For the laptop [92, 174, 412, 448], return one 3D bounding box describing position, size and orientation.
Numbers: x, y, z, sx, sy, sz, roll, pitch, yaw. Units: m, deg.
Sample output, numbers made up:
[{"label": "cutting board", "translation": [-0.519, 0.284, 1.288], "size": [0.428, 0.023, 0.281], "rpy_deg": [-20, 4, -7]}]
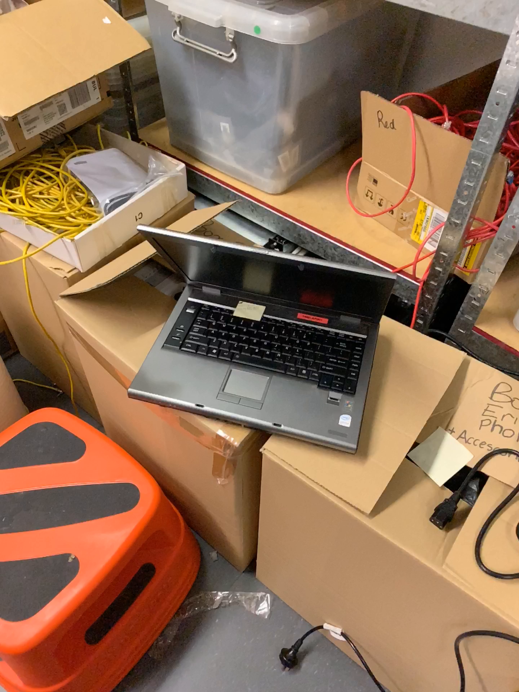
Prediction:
[{"label": "laptop", "translation": [0.002, -0.061, 0.781], "size": [0.360, 0.238, 0.263], "rpy_deg": [12, 48, 10]}]
